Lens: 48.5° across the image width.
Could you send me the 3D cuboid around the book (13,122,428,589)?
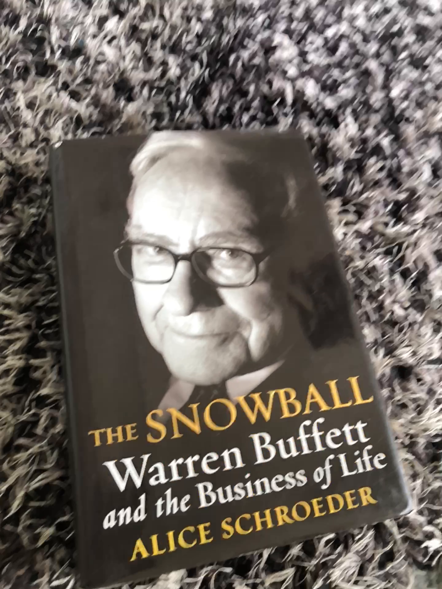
[{"bbox_3d":[-0.014,0.022,0.290,0.180,0.060,0.250,-7,69,-14],"label":"book"}]
